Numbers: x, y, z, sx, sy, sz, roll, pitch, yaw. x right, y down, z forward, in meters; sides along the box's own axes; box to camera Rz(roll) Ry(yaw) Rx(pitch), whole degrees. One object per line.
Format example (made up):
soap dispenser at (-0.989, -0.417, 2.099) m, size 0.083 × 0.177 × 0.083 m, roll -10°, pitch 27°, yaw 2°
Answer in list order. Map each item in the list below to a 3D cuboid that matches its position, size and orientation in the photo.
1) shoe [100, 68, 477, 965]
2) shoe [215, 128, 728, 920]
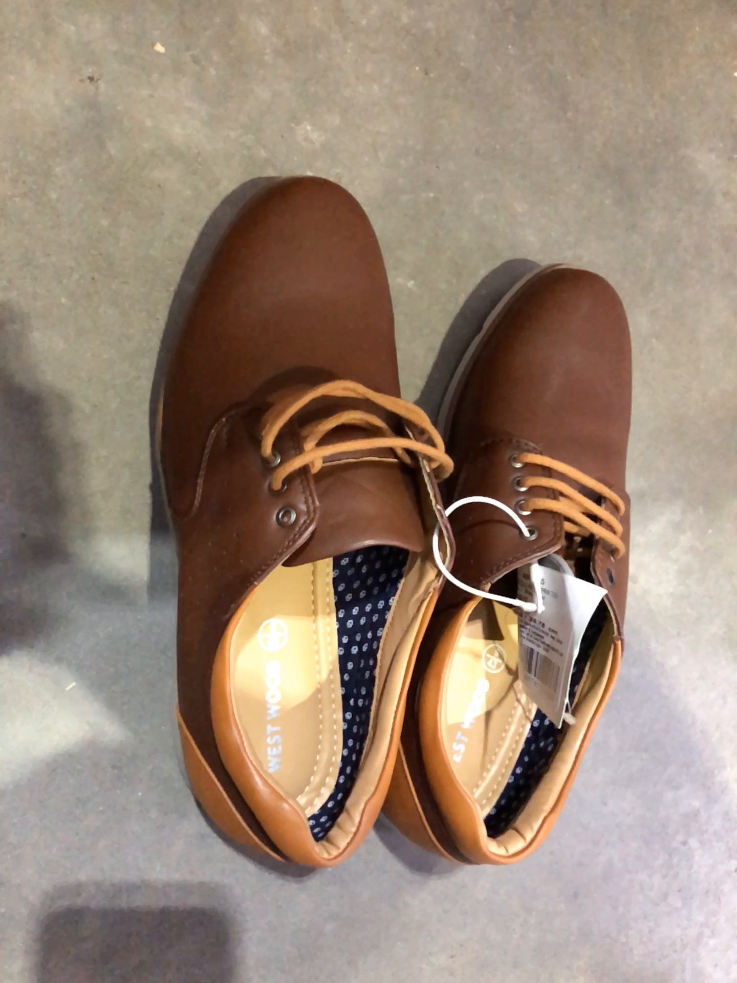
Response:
shoe at (-0.037, 0.008, 0.330) m, size 0.110 × 0.120 × 0.280 m, roll 5°, pitch 83°, yaw -21°
shoe at (0.048, 0.012, 0.403) m, size 0.120 × 0.130 × 0.310 m, roll 23°, pitch 77°, yaw -18°
